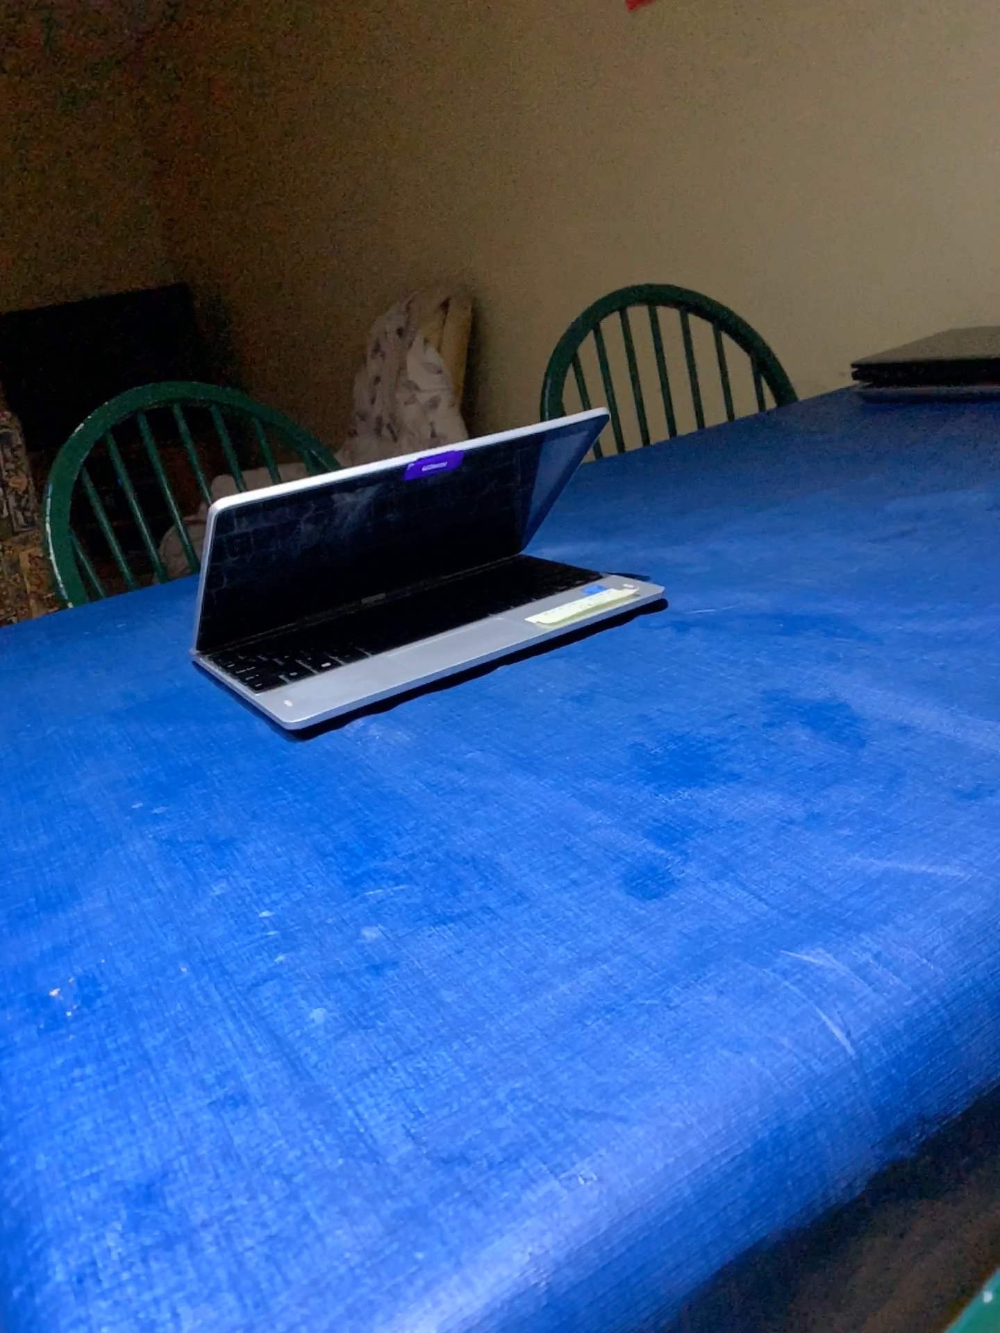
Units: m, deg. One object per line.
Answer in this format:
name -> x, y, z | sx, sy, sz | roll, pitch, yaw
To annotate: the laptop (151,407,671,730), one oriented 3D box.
laptop -> -0.063, -0.087, 0.698 | 0.280, 0.122, 0.208 | -20, 21, -26
